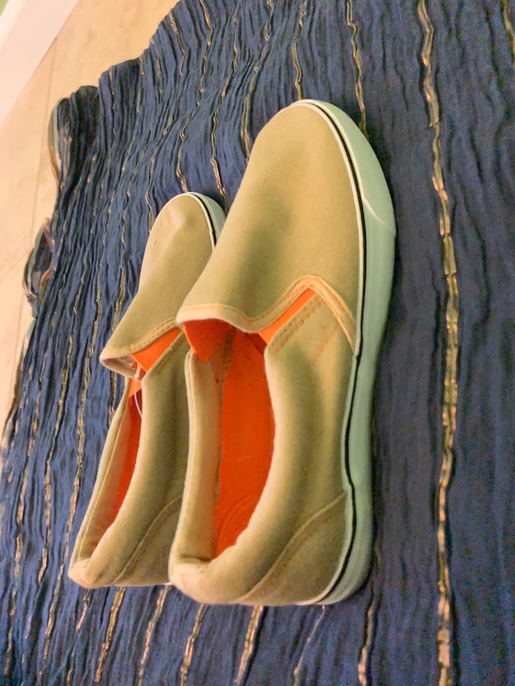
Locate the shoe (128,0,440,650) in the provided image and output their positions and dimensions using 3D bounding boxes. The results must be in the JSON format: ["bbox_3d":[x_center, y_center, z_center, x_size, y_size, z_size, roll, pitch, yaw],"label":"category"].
[{"bbox_3d":[0.013,-0.019,0.259,0.100,0.079,0.271,-17,64,45],"label":"shoe"}]

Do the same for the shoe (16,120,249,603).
[{"bbox_3d":[-0.072,0.009,0.335,0.096,0.079,0.263,-17,63,45],"label":"shoe"}]
